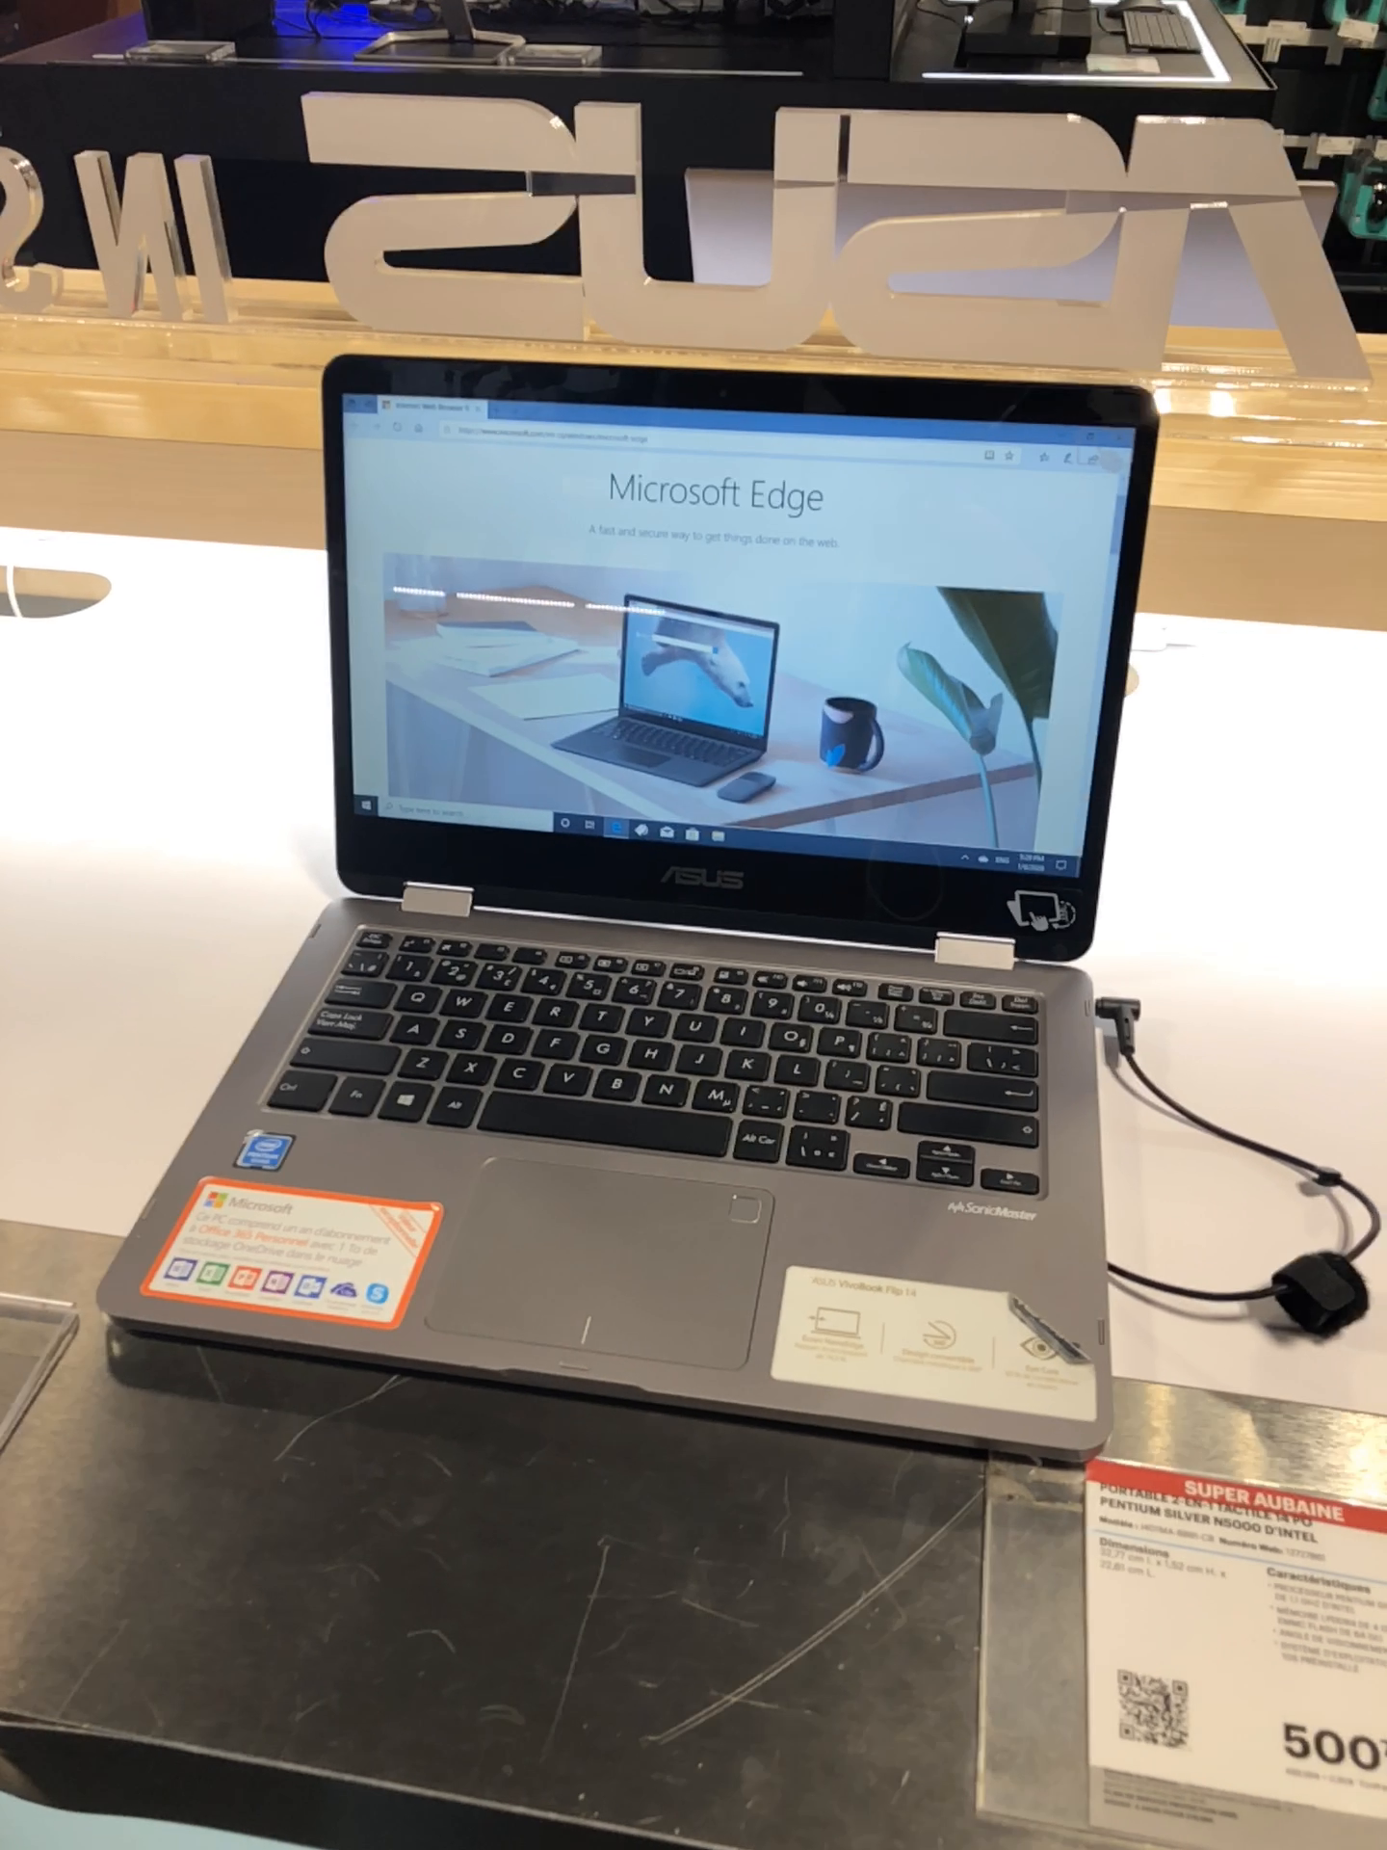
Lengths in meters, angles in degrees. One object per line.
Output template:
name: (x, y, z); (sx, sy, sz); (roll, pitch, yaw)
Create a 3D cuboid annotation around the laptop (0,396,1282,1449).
laptop: (-0.008, -0.028, 0.502); (0.304, 0.212, 0.279); (5, 35, 10)
